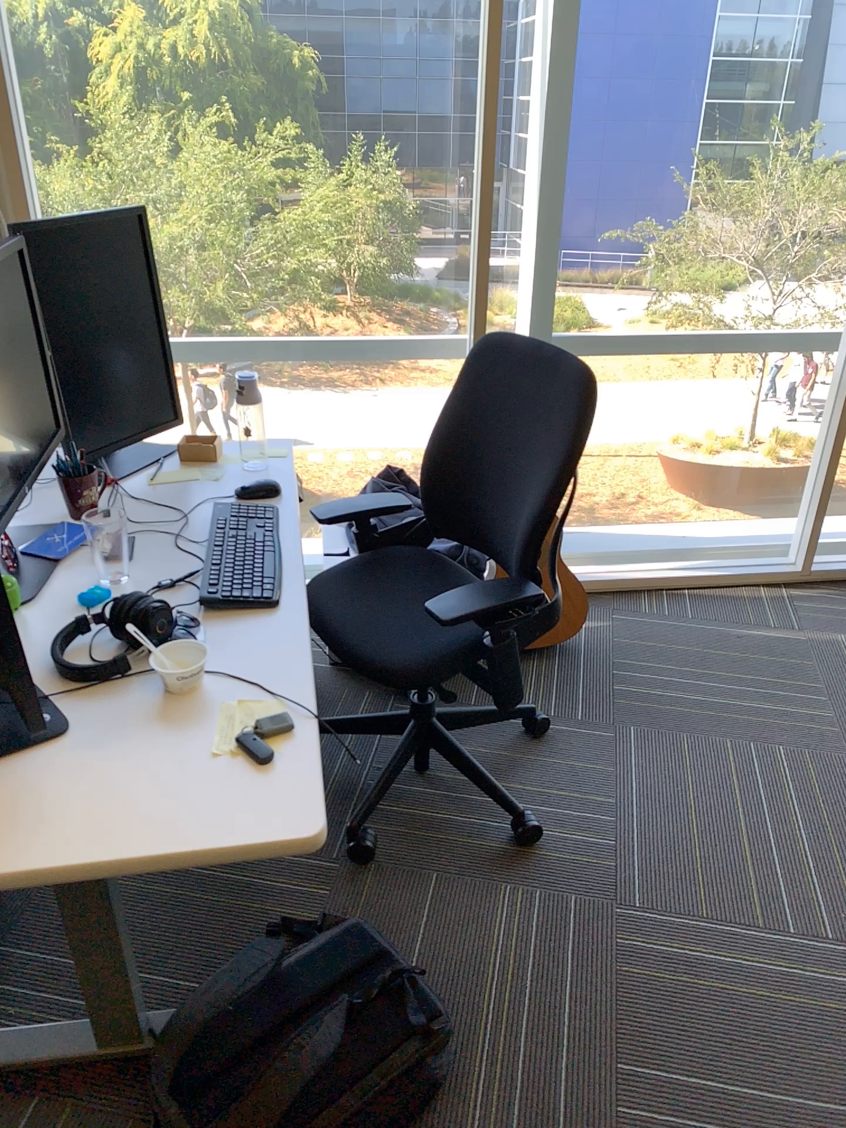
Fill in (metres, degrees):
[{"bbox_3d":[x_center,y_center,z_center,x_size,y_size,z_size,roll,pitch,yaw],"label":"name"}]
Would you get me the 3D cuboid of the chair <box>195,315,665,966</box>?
[{"bbox_3d":[-0.012,0.128,2.074,0.691,1.223,0.713,-19,34,-32],"label":"chair"}]
